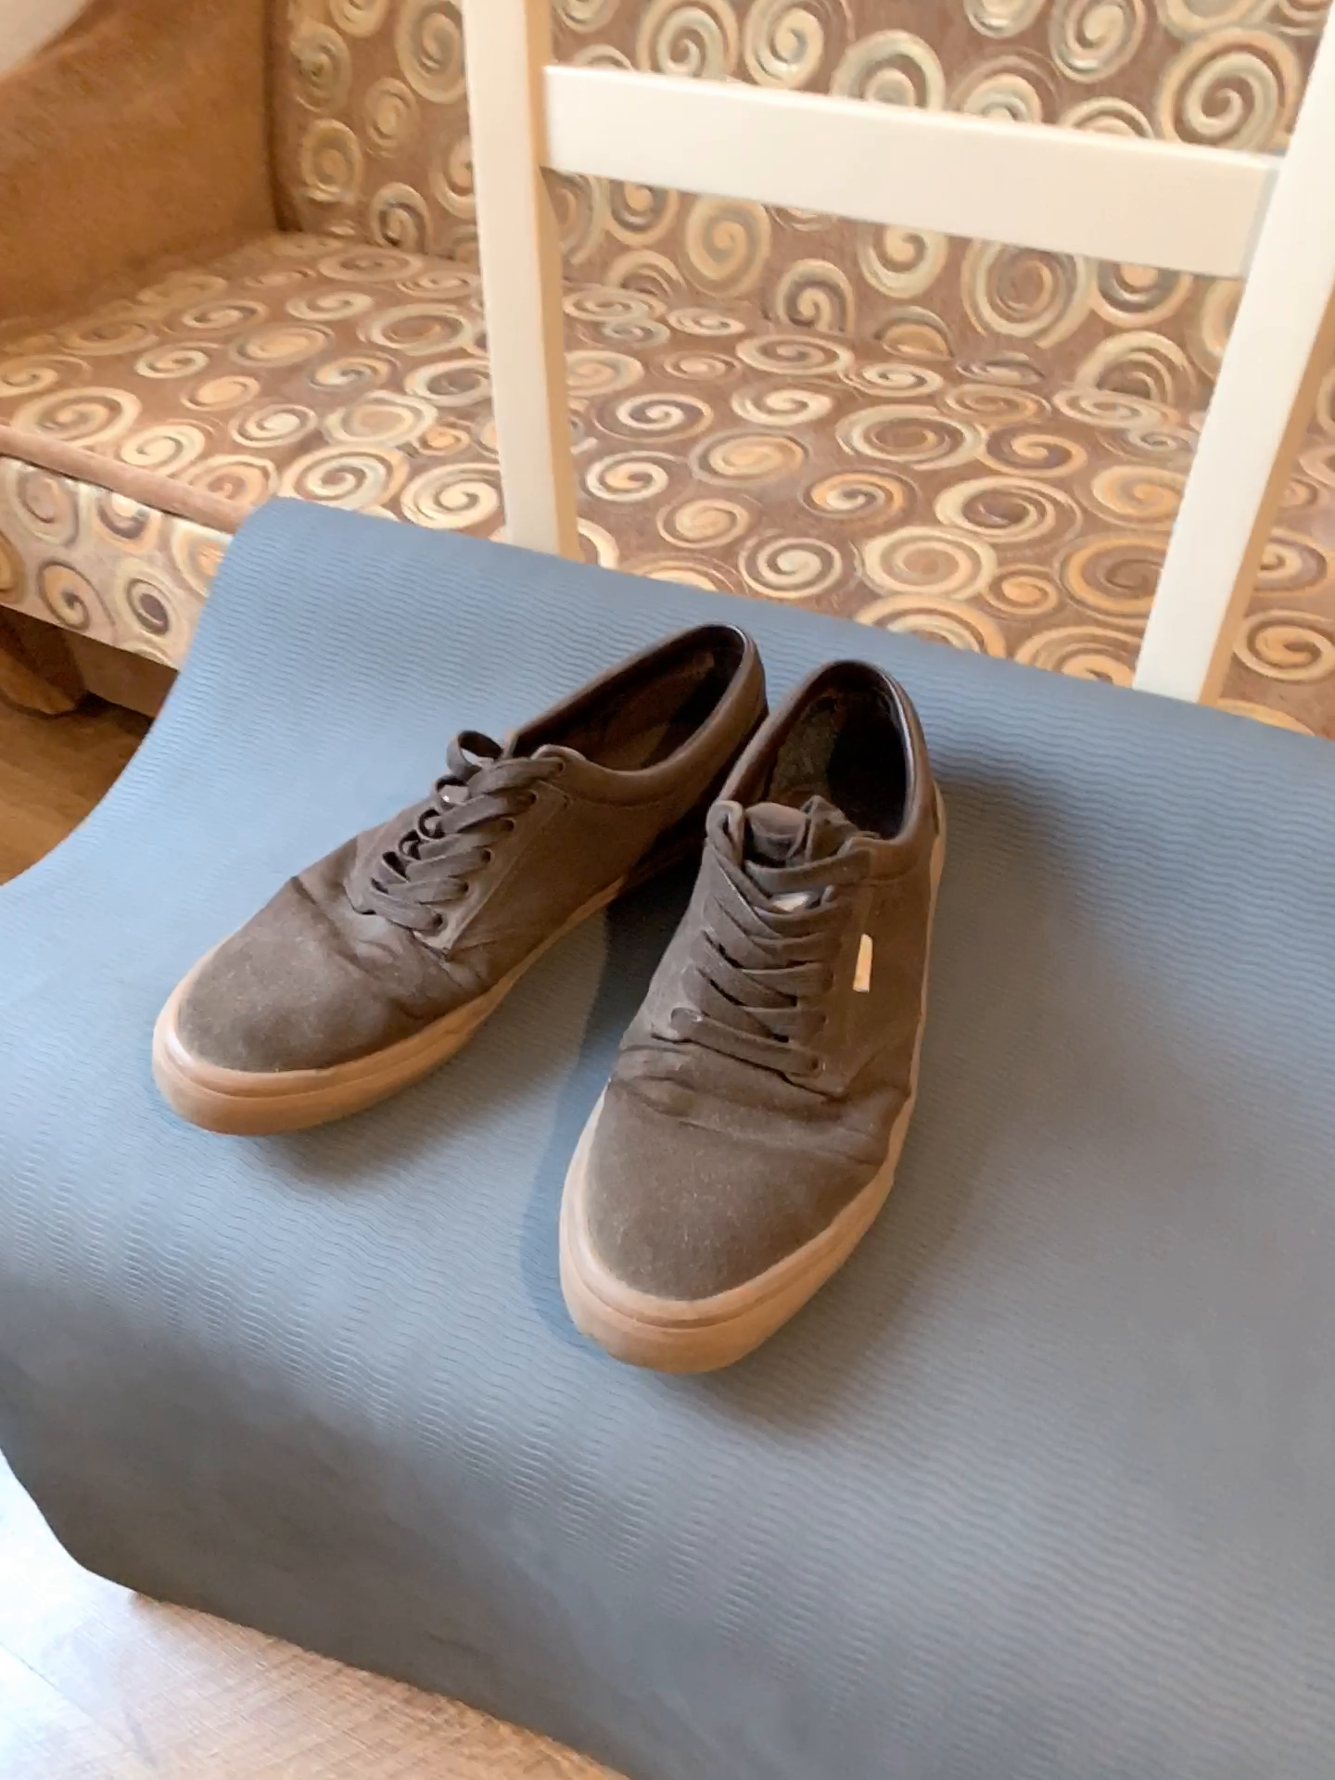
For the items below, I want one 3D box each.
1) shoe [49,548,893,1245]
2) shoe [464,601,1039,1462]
[{"bbox_3d":[-0.061,-0.017,0.569,0.340,0.080,0.110,-36,54,-27],"label":"shoe"},{"bbox_3d":[0.050,0.024,0.506,0.110,0.080,0.321,13,48,15],"label":"shoe"}]
